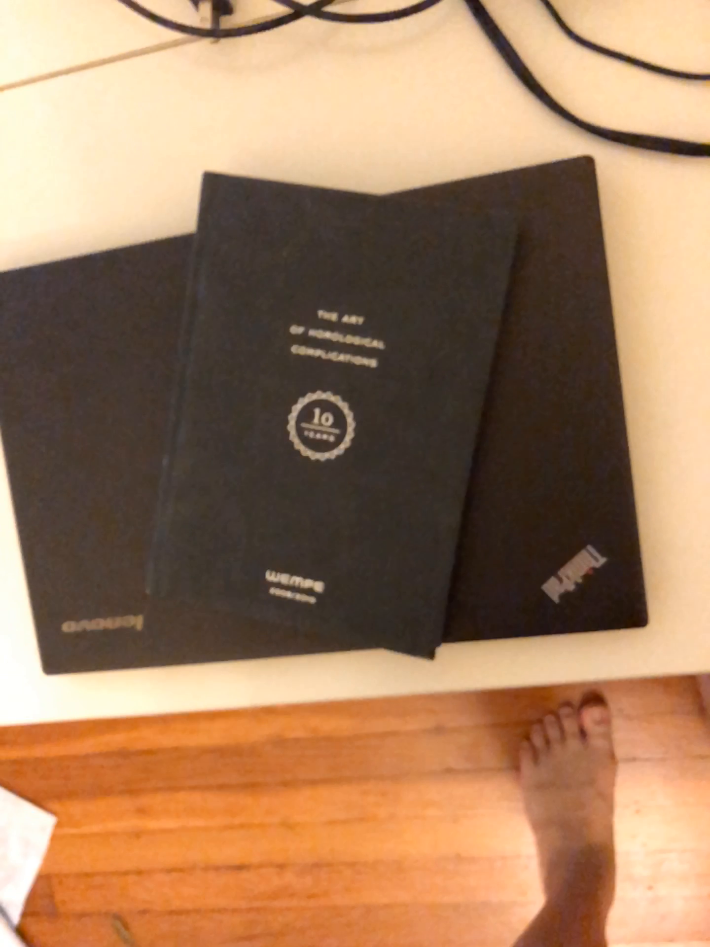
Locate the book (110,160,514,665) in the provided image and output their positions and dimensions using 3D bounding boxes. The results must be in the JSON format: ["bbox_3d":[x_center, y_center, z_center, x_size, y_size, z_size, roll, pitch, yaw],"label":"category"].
[{"bbox_3d":[-0.025,-0.032,0.404,0.170,0.030,0.220,11,96,11],"label":"book"}]
